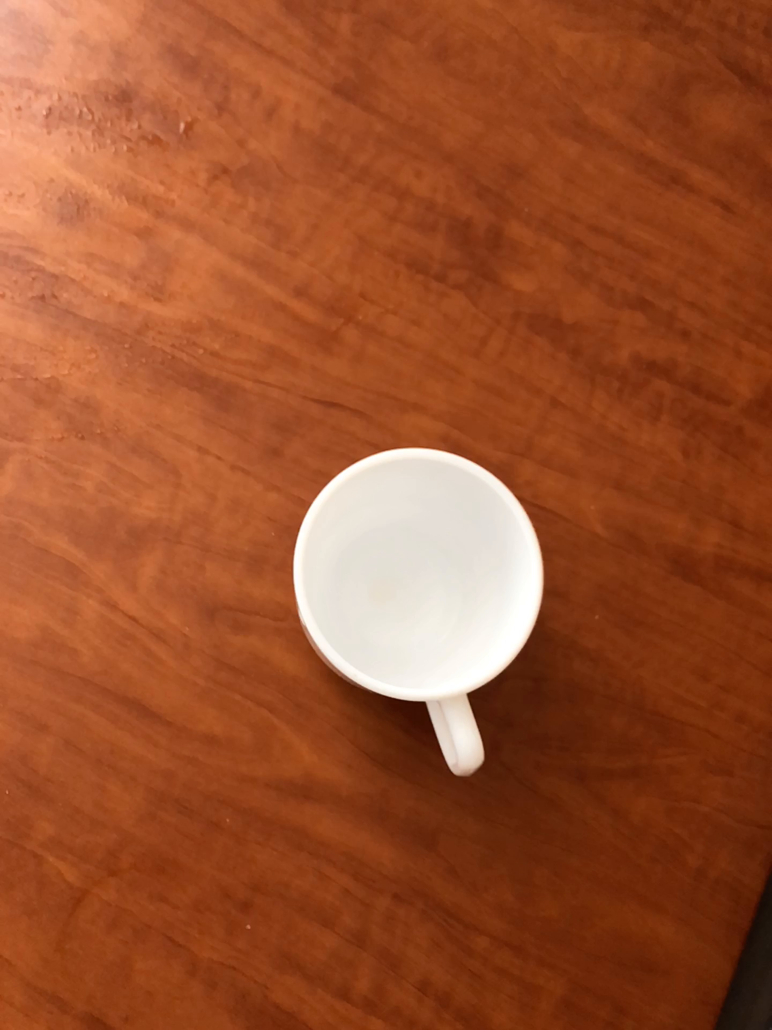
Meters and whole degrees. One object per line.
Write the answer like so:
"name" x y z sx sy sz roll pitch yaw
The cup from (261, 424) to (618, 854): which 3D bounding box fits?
"cup" 0.013 0.042 0.309 0.086 0.061 0.120 -15 80 -11
